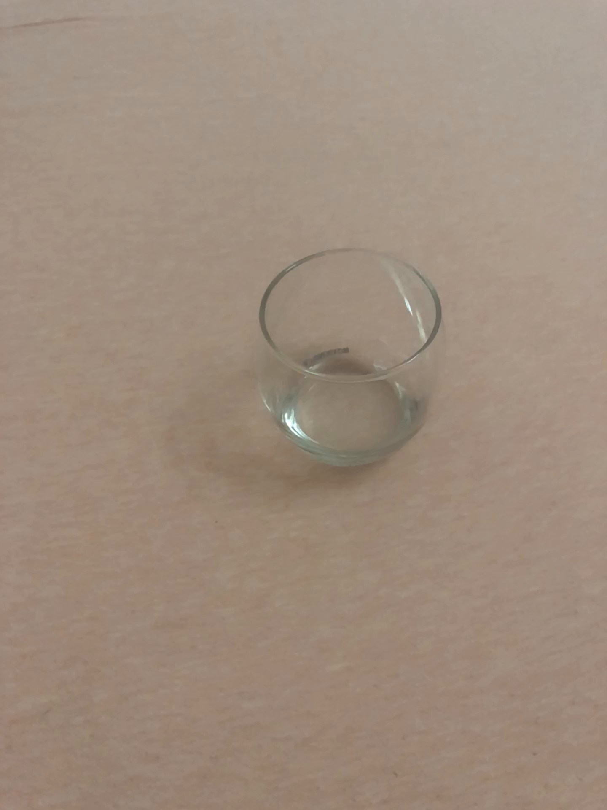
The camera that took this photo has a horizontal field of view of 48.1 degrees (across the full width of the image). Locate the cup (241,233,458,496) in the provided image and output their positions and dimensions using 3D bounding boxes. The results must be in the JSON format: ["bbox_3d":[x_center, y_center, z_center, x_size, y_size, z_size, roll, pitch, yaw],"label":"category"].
[{"bbox_3d":[0.022,-0.018,0.349,0.090,0.100,0.090,-2,53,2],"label":"cup"}]
